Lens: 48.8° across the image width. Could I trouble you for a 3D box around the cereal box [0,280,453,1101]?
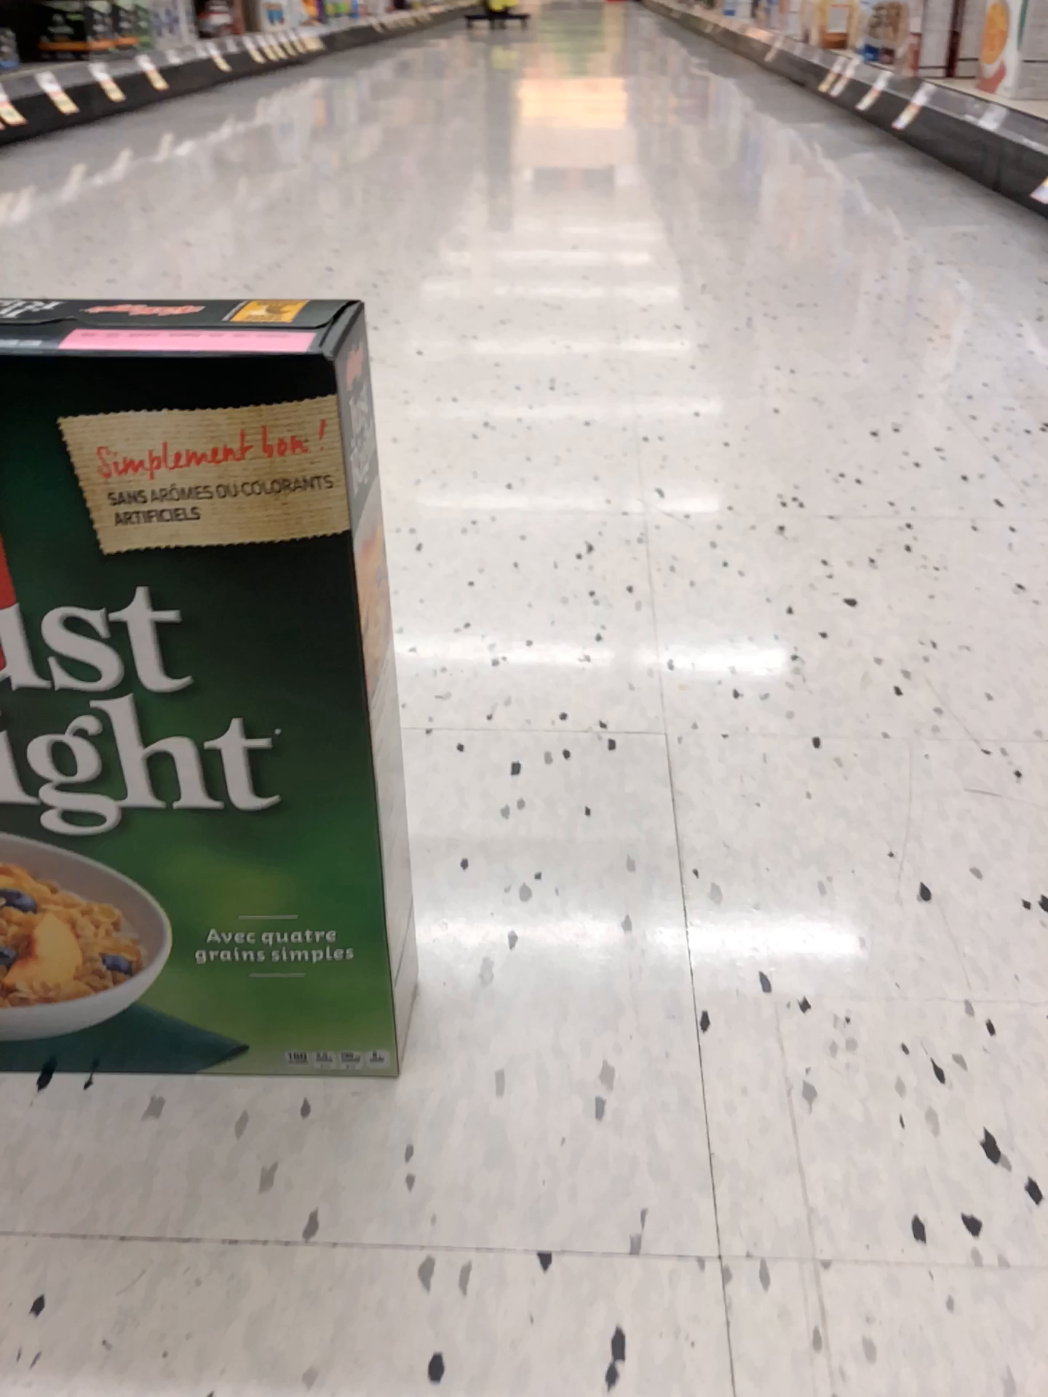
[{"bbox_3d":[-0.135,0.014,0.365,0.210,0.268,0.050,1,33,3],"label":"cereal box"}]
